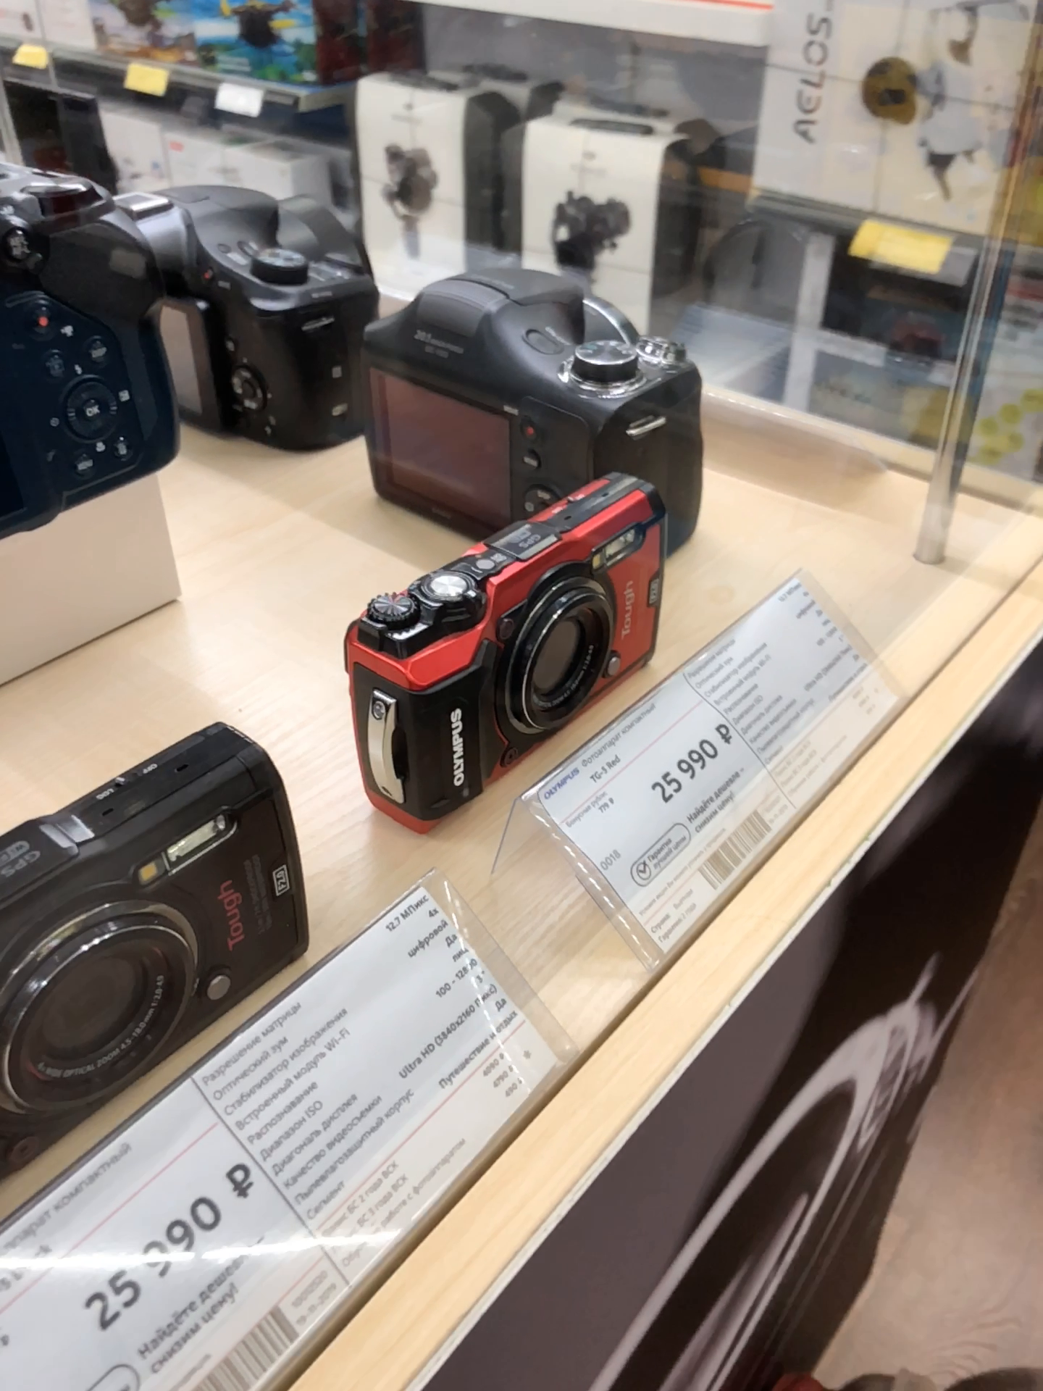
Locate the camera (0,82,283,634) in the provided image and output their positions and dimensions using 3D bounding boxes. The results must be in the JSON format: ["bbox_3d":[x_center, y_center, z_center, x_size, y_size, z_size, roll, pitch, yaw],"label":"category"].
[{"bbox_3d":[-0.171,-0.108,0.326,0.127,0.086,0.147,28,45,31],"label":"camera"}]

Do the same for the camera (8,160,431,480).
[{"bbox_3d":[-0.136,-0.180,0.534,0.158,0.086,0.103,27,44,31],"label":"camera"}]

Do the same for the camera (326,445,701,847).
[{"bbox_3d":[0.002,-0.018,0.326,0.030,0.061,0.119,27,44,31],"label":"camera"}]

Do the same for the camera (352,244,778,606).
[{"bbox_3d":[0.015,-0.106,0.430,0.117,0.078,0.094,27,45,31],"label":"camera"}]

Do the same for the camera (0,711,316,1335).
[{"bbox_3d":[-0.100,0.061,0.239,0.030,0.061,0.117,27,44,31],"label":"camera"}]
